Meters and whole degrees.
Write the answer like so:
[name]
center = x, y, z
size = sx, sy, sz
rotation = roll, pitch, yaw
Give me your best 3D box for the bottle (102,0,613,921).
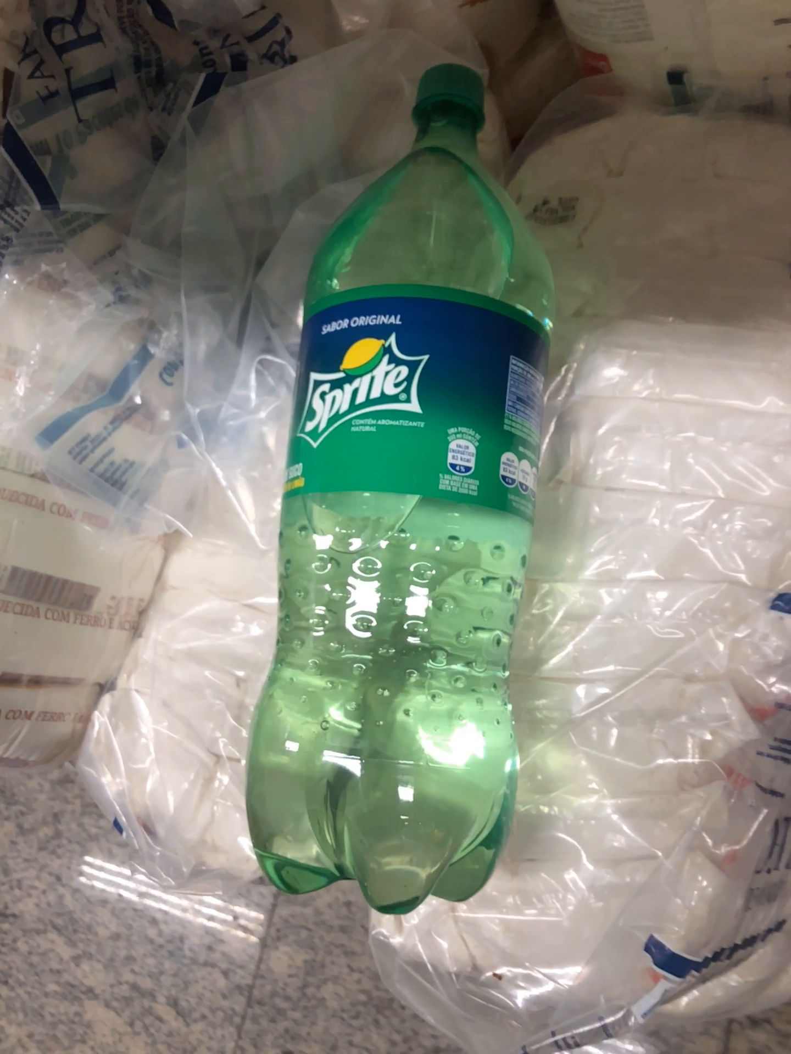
[bottle]
center = 0.010, -0.060, 0.353
size = 0.110, 0.110, 0.381
rotation = 1, 70, 23
